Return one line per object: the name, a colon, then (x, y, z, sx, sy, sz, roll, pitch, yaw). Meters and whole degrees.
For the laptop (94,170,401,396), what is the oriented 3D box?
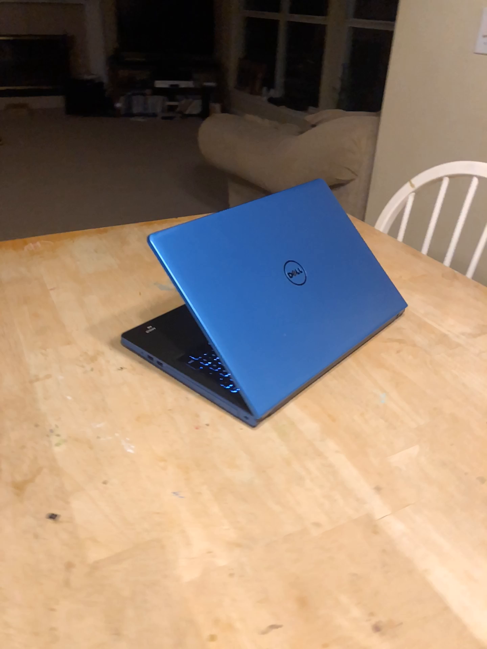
laptop: (0.018, -0.092, 0.779, 0.249, 0.159, 0.362, 24, 37, 33)
